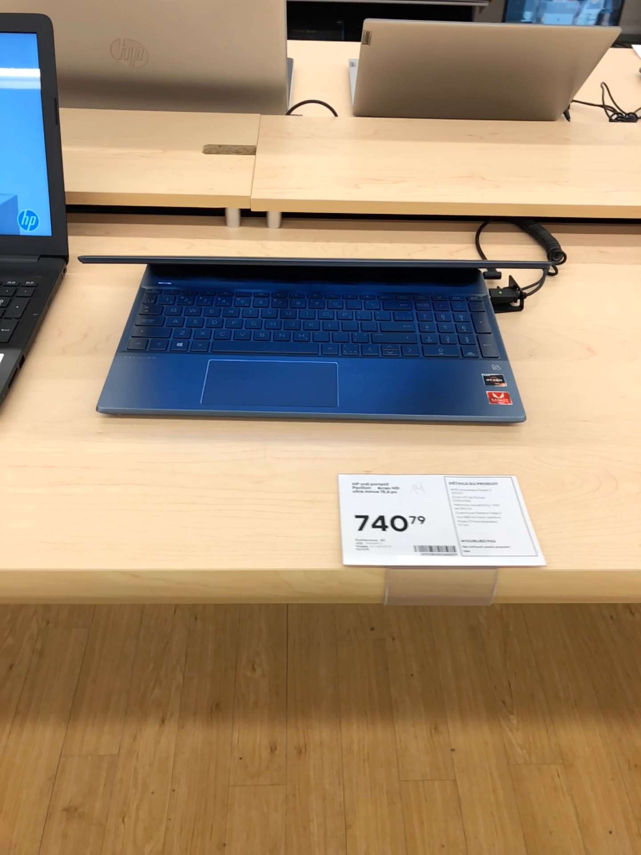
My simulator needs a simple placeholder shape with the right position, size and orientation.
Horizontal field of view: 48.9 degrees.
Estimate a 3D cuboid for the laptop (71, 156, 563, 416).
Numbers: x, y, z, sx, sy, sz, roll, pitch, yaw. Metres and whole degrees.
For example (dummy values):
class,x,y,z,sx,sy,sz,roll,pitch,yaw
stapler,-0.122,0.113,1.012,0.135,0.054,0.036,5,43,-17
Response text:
class,x,y,z,sx,sy,sz,roll,pitch,yaw
laptop,-0.003,-0.129,0.616,0.349,0.119,0.210,1,44,-1
